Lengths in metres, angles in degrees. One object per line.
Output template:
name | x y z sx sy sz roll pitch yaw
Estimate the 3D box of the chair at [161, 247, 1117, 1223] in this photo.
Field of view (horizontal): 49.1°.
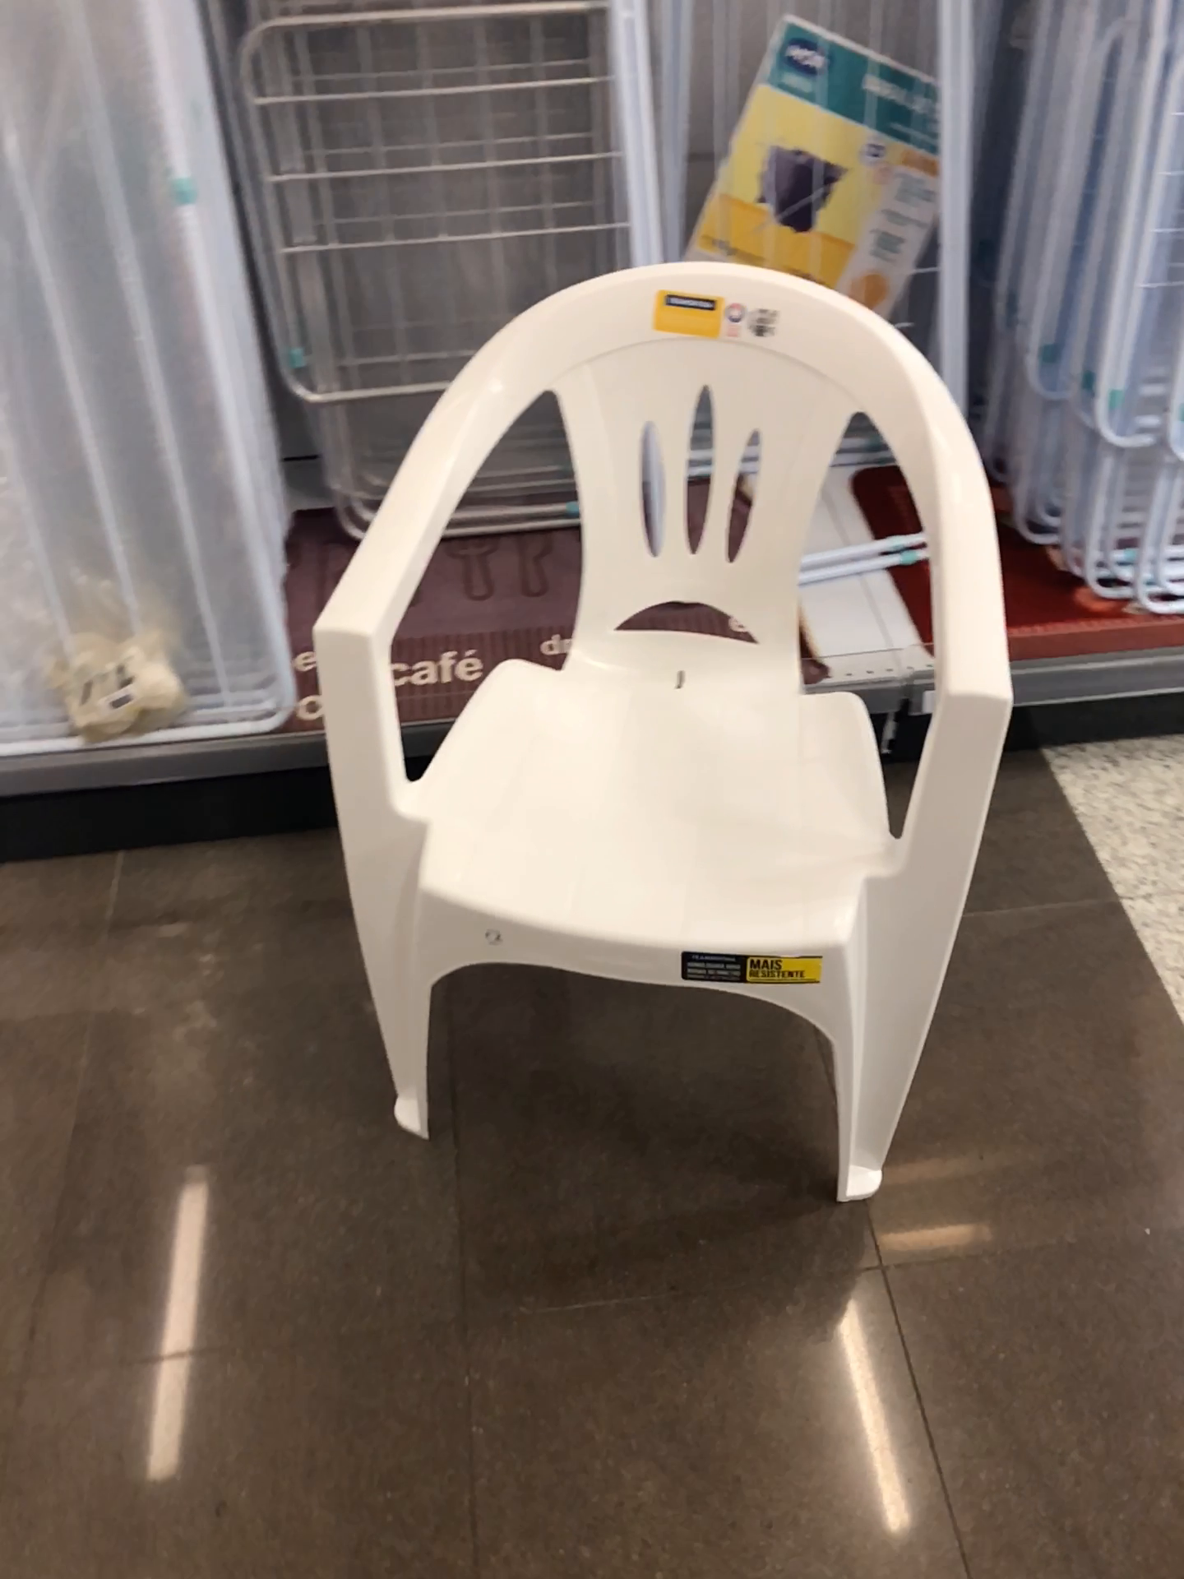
chair | 0.063 -0.049 1.272 0.600 0.705 0.604 3 46 6
